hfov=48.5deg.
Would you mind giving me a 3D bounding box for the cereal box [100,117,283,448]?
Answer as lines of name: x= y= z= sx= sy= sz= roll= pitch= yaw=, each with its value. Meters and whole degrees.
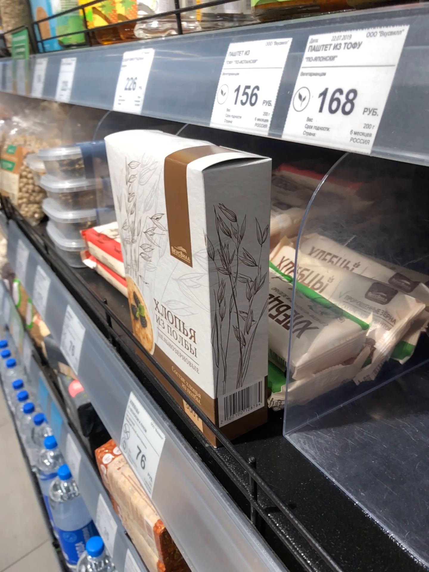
cereal box: x=-0.019 y=-0.013 z=0.339 sx=0.050 sy=0.189 sz=0.151 roll=-16 pitch=28 yaw=-27
